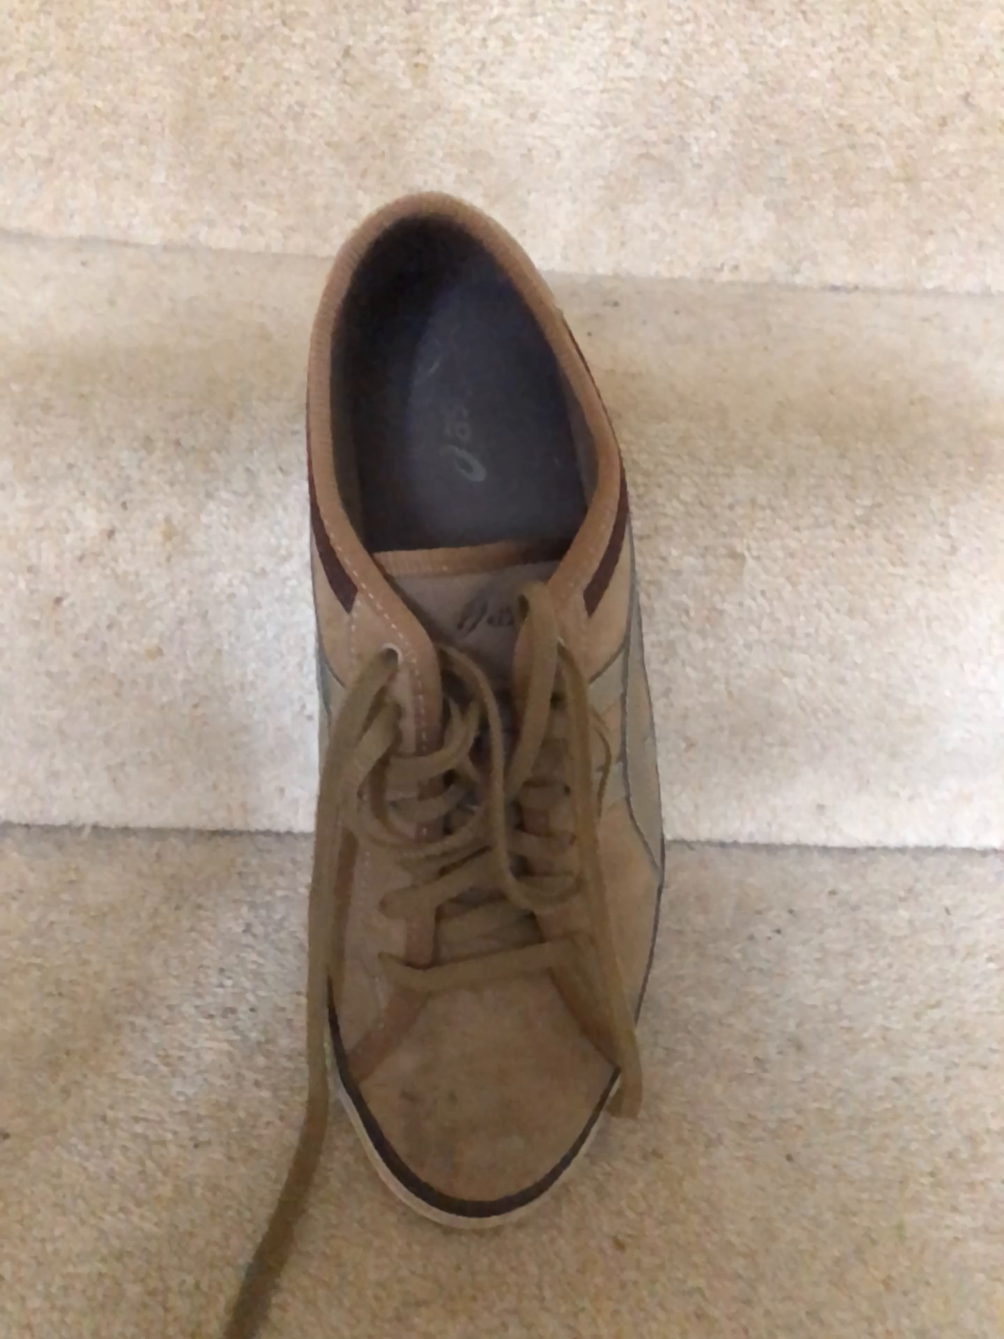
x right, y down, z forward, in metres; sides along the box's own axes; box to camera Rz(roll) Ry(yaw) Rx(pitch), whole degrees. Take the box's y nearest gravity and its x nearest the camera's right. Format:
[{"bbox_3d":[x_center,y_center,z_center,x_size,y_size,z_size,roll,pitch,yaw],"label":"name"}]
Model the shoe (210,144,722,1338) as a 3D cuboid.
[{"bbox_3d":[-0.013,0.023,0.323,0.110,0.301,0.120,-2,-10,0],"label":"shoe"}]
